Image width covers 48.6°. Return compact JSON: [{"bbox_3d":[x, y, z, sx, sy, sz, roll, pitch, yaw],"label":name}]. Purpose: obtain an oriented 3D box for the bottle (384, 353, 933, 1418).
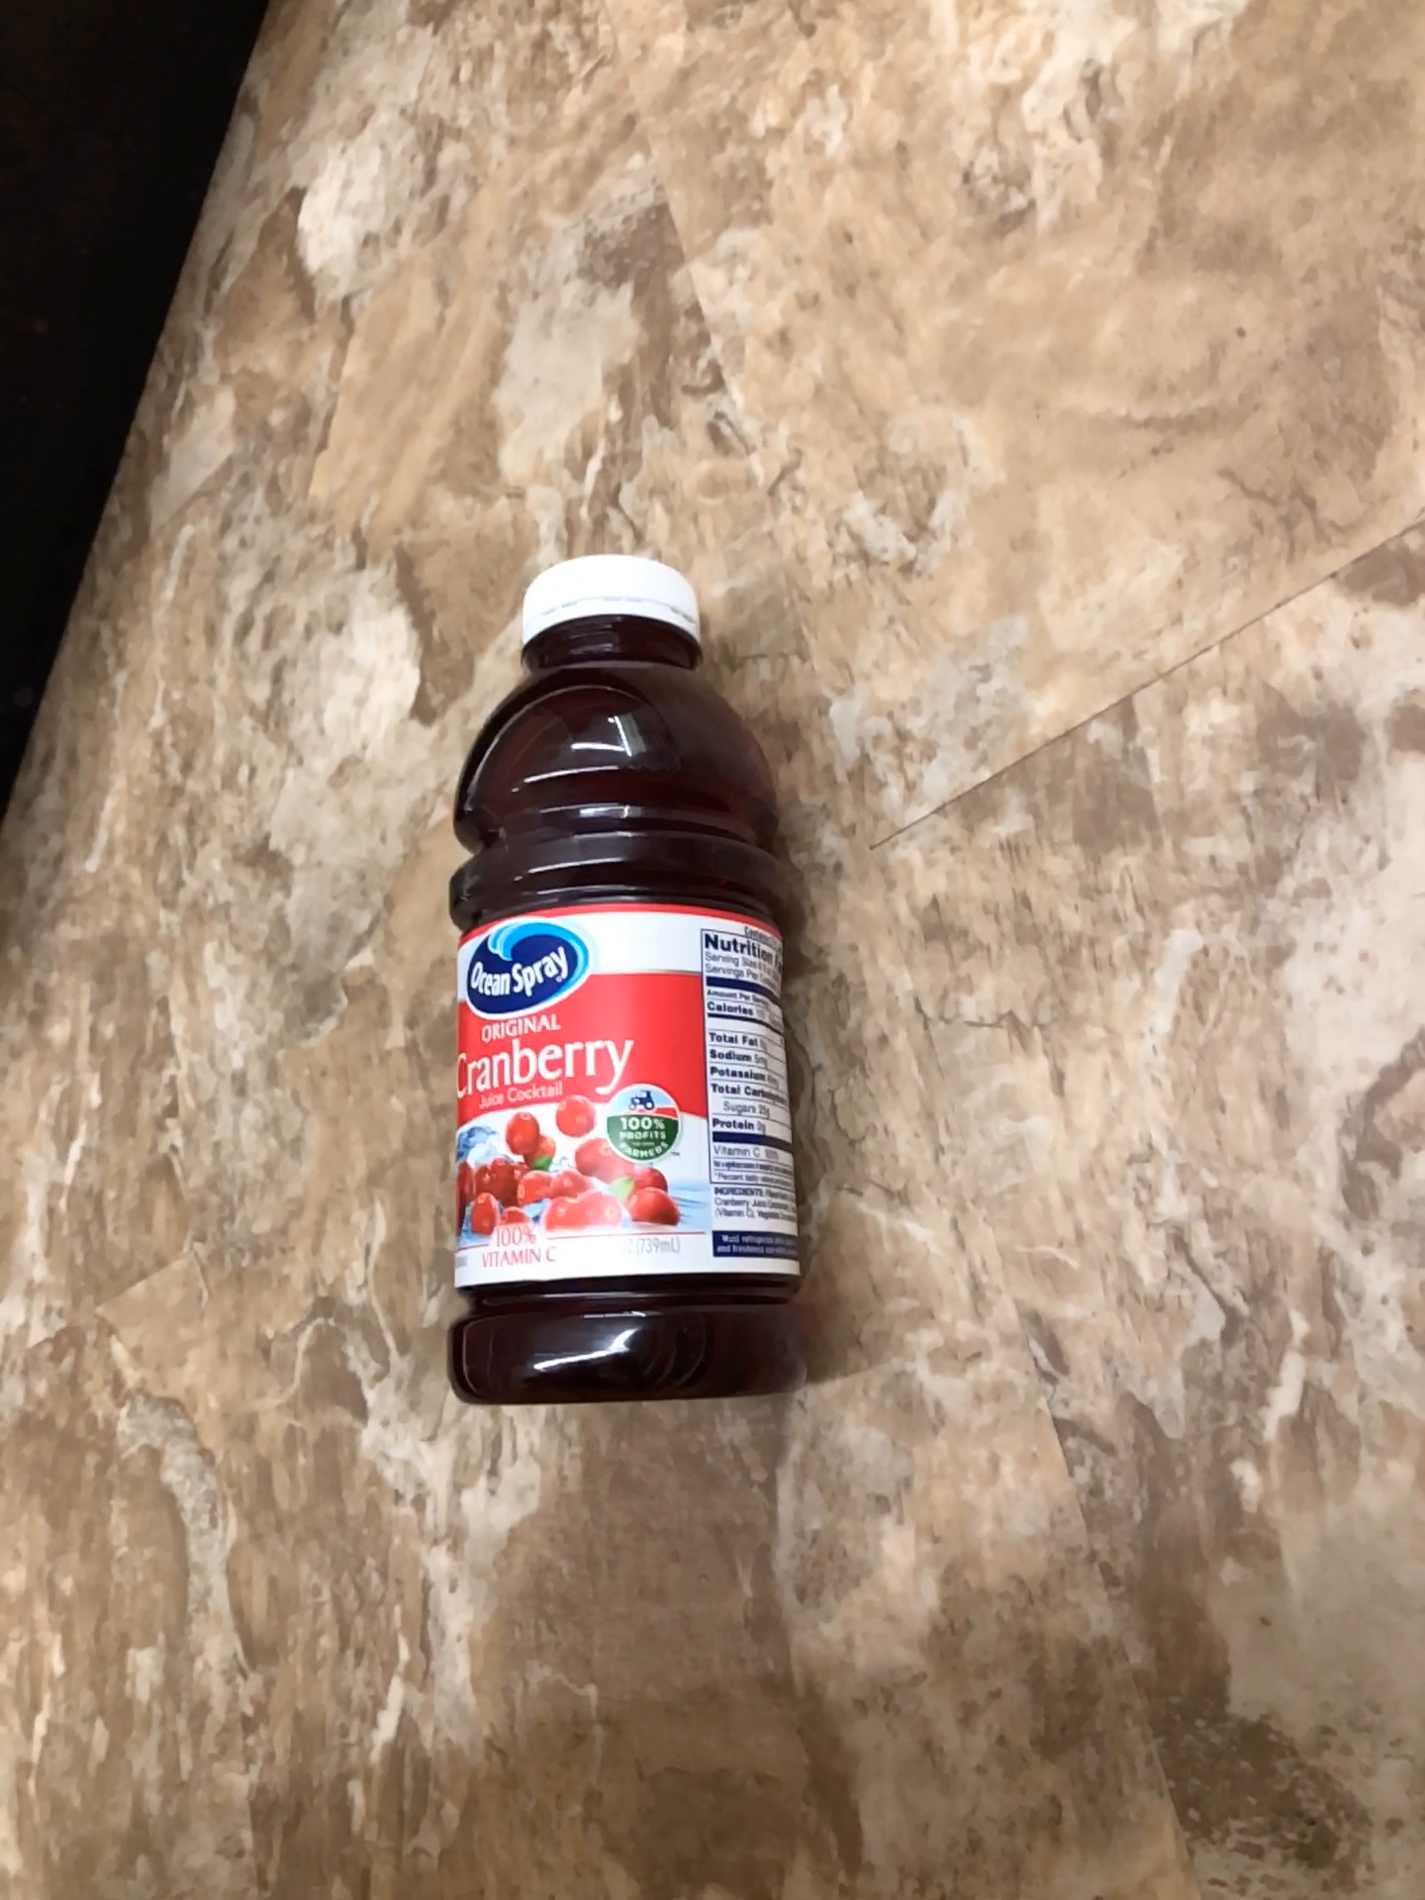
[{"bbox_3d":[-0.015,-0.007,0.380,0.090,0.083,0.226,-14,71,39],"label":"bottle"}]
